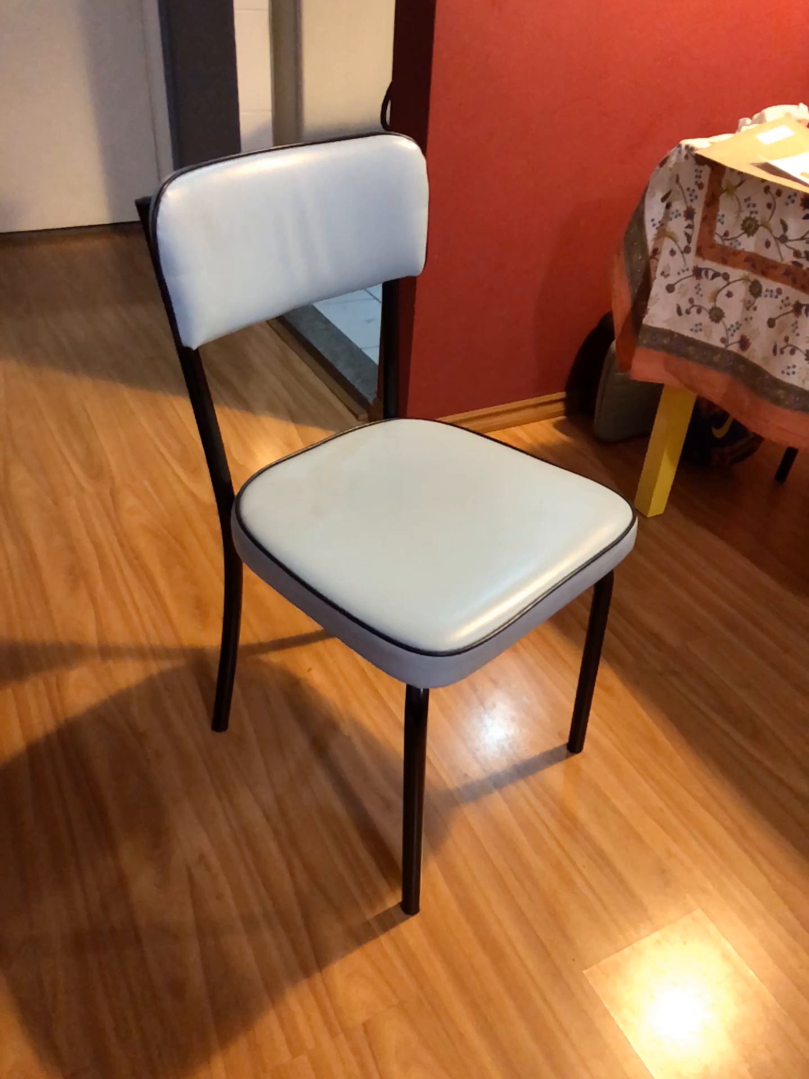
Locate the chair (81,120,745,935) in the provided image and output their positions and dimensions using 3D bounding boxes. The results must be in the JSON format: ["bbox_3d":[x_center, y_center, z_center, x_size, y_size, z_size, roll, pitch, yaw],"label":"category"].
[{"bbox_3d":[-0.007,-0.031,1.131,0.502,0.794,0.452,30,44,31],"label":"chair"}]
